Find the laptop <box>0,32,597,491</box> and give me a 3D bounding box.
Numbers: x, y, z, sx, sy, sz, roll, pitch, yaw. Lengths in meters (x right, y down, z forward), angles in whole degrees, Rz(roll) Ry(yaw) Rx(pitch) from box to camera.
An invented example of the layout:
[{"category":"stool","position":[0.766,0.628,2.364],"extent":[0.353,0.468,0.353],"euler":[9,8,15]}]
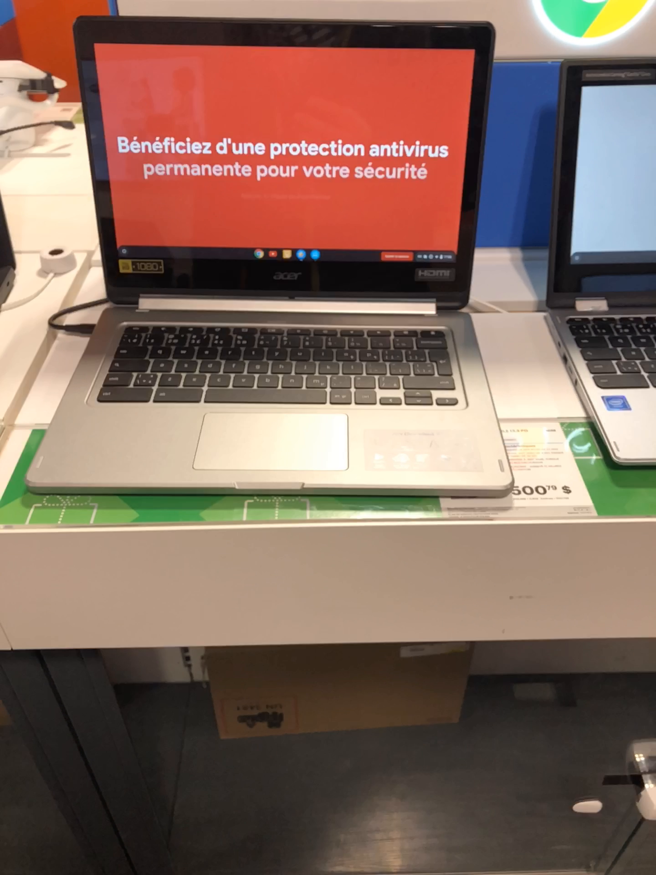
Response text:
[{"category":"laptop","position":[-0.038,-0.128,0.497],"extent":[0.317,0.226,0.240],"euler":[1,39,1]}]
